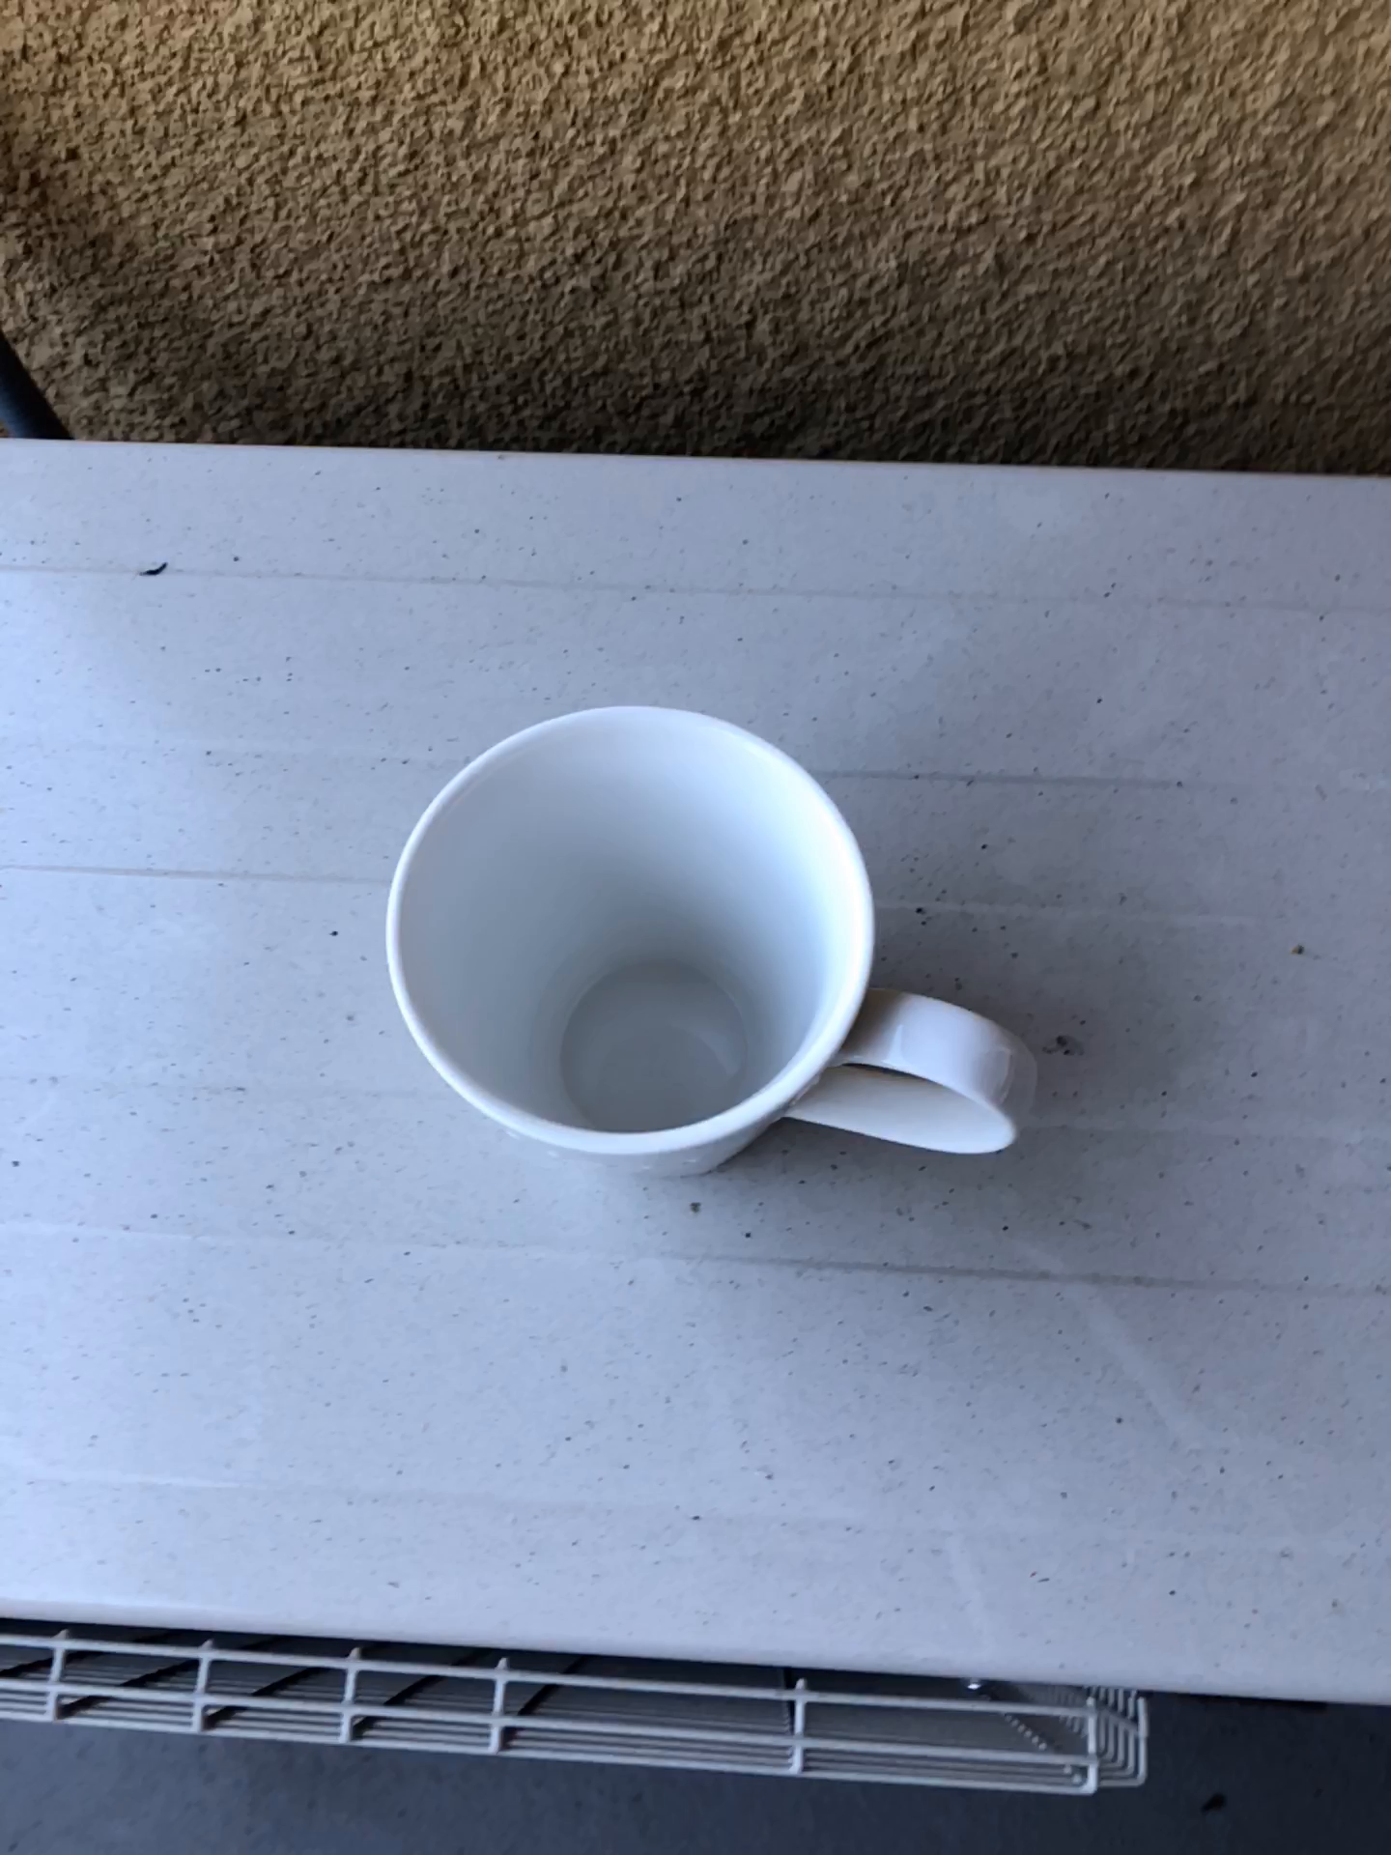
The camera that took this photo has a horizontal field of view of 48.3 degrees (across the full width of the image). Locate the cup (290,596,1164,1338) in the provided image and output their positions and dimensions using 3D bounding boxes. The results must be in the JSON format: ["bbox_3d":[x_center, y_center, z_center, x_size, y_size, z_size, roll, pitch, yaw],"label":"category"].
[{"bbox_3d":[0.009,0.013,0.330,0.140,0.100,0.100,13,69,5],"label":"cup"}]
